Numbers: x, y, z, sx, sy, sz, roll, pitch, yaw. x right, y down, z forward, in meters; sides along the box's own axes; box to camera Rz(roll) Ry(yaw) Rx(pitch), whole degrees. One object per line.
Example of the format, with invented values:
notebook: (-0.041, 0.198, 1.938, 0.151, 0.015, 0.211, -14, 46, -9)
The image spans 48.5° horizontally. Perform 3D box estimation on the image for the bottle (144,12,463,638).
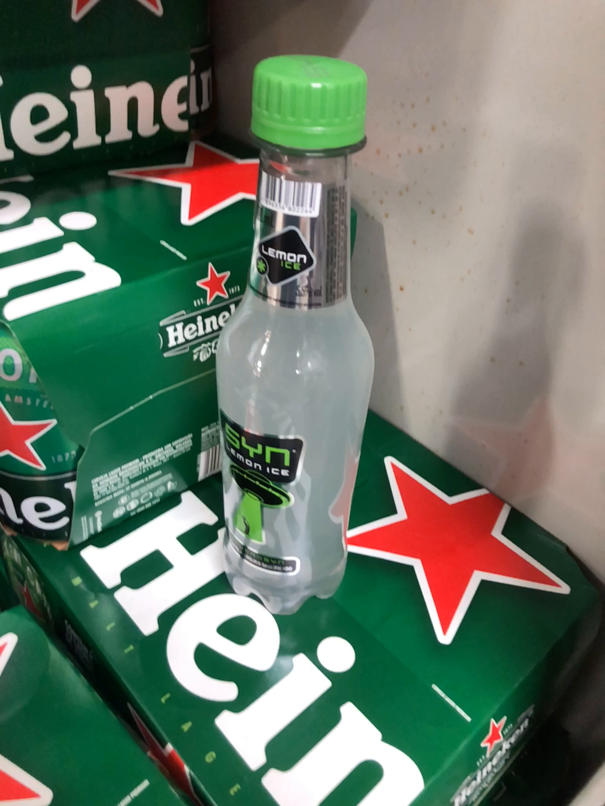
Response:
bottle: (-0.004, -0.012, 0.239, 0.060, 0.208, 0.060, 3, 39, -2)
